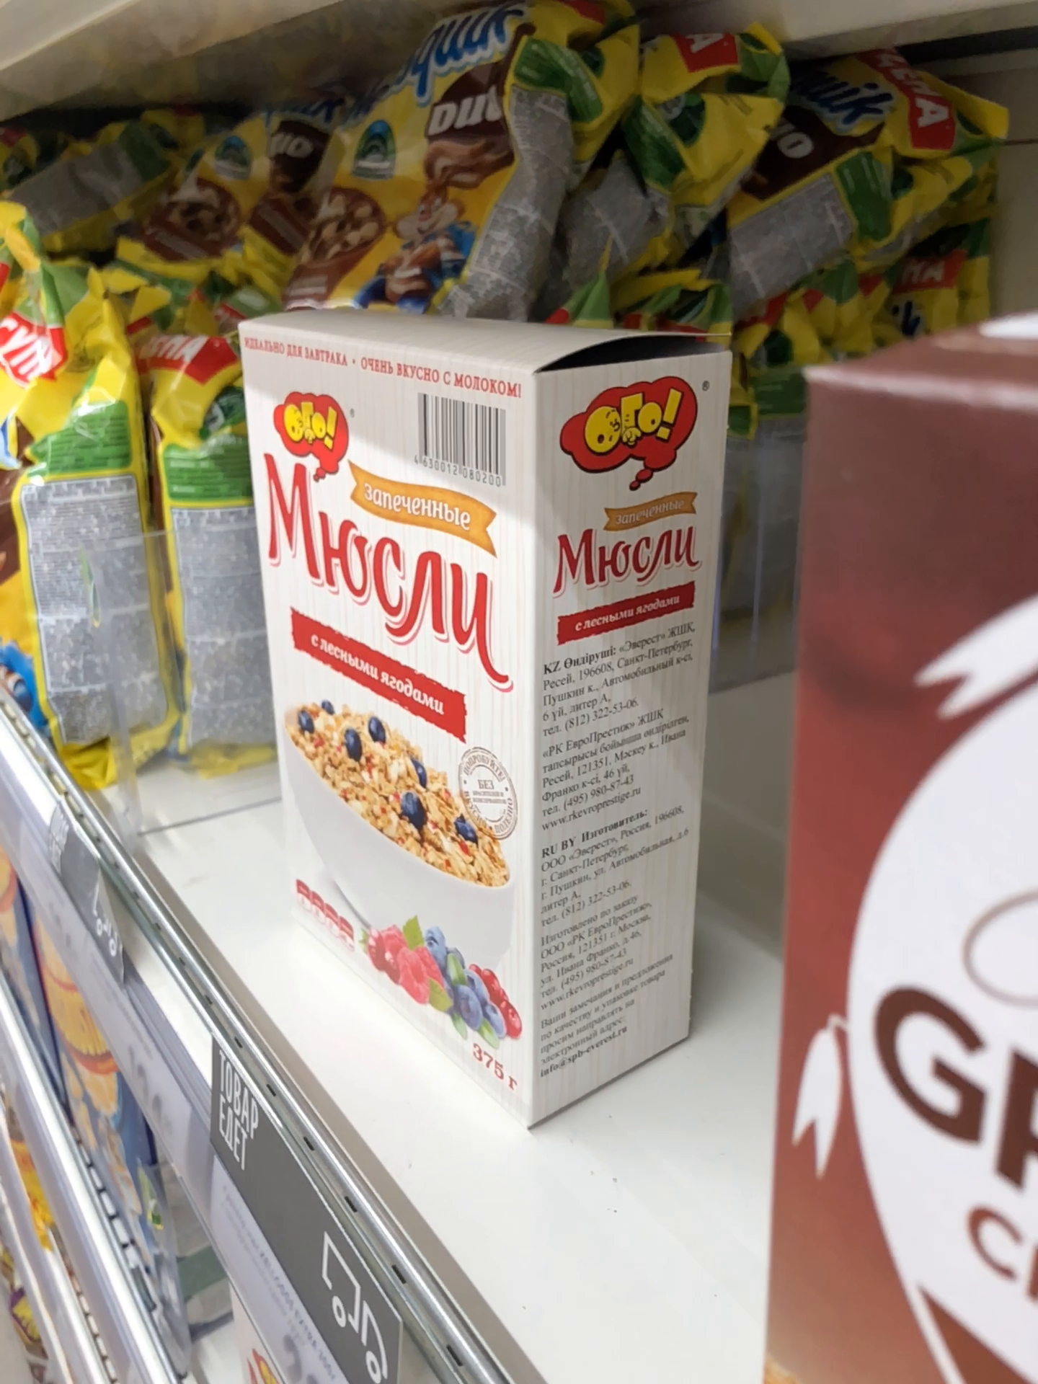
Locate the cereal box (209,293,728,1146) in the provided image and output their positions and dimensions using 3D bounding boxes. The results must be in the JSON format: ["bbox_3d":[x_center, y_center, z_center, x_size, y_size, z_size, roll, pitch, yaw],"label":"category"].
[{"bbox_3d":[-0.018,-0.004,0.327,0.060,0.199,0.140,-17,26,-35],"label":"cereal box"}]
